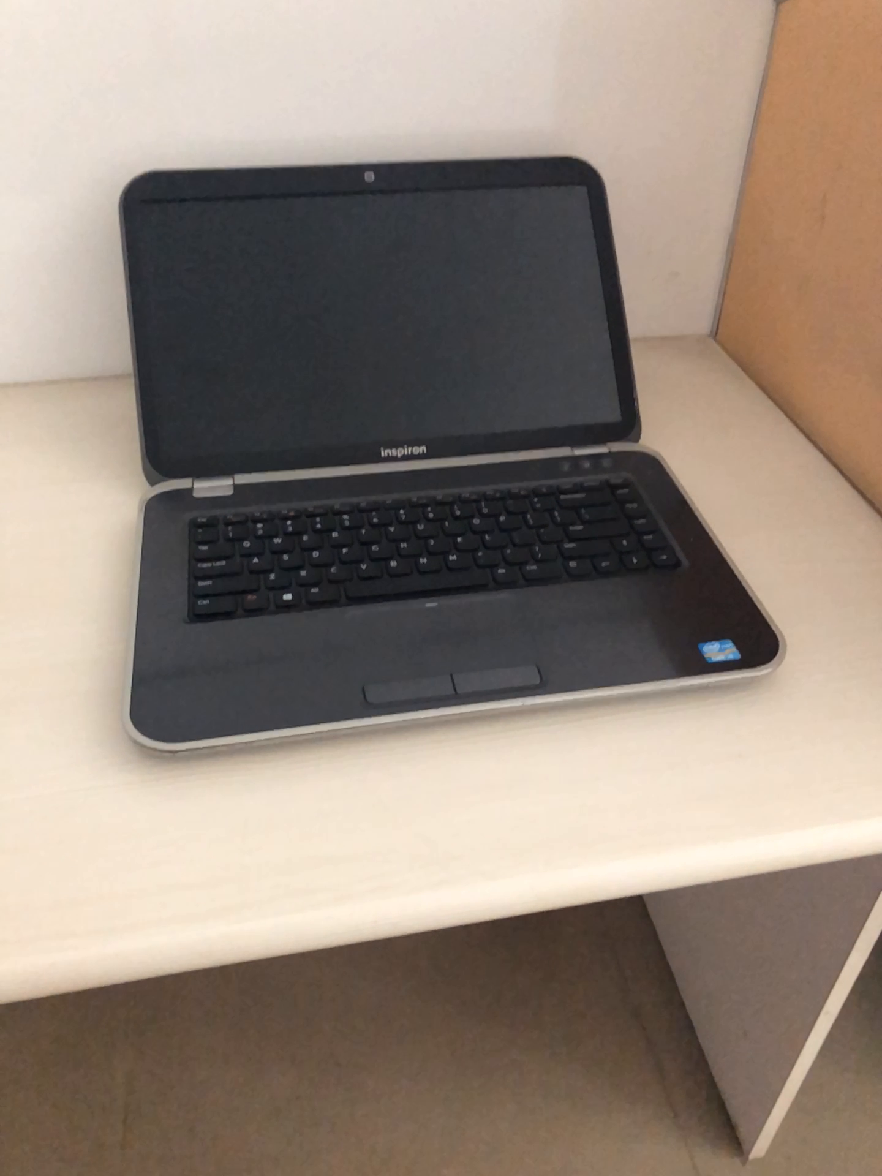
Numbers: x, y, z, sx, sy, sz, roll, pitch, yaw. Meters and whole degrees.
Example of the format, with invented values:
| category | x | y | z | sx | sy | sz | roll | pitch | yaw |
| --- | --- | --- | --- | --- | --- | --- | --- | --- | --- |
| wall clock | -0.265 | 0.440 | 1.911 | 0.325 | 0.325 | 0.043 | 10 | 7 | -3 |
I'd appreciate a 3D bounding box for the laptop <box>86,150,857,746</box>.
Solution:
| category | x | y | z | sx | sy | sz | roll | pitch | yaw |
| --- | --- | --- | --- | --- | --- | --- | --- | --- | --- |
| laptop | -0.017 | -0.129 | 0.618 | 0.339 | 0.152 | 0.411 | -6 | 41 | -9 |
